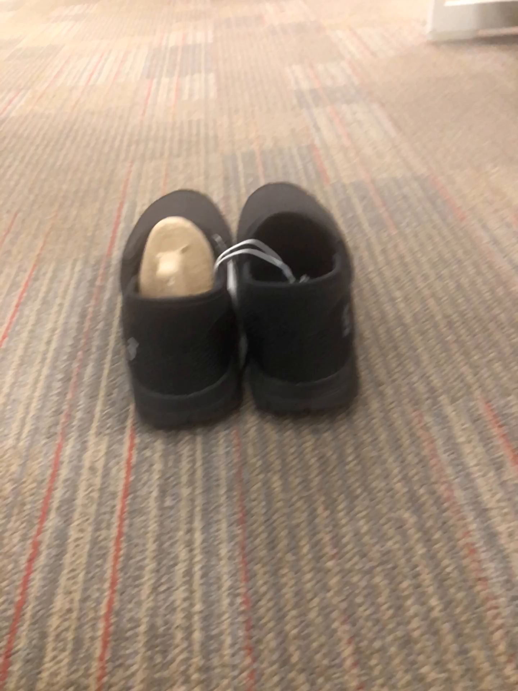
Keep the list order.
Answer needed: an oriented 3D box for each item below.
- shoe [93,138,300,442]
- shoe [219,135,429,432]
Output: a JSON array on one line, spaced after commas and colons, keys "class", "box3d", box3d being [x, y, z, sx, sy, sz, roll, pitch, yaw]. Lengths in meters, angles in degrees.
[{"class": "shoe", "box3d": [-0.044, -0.062, 0.459, 0.116, 0.105, 0.259, -6, 40, -2]}, {"class": "shoe", "box3d": [0.034, -0.066, 0.462, 0.120, 0.109, 0.248, -5, 40, 0]}]
